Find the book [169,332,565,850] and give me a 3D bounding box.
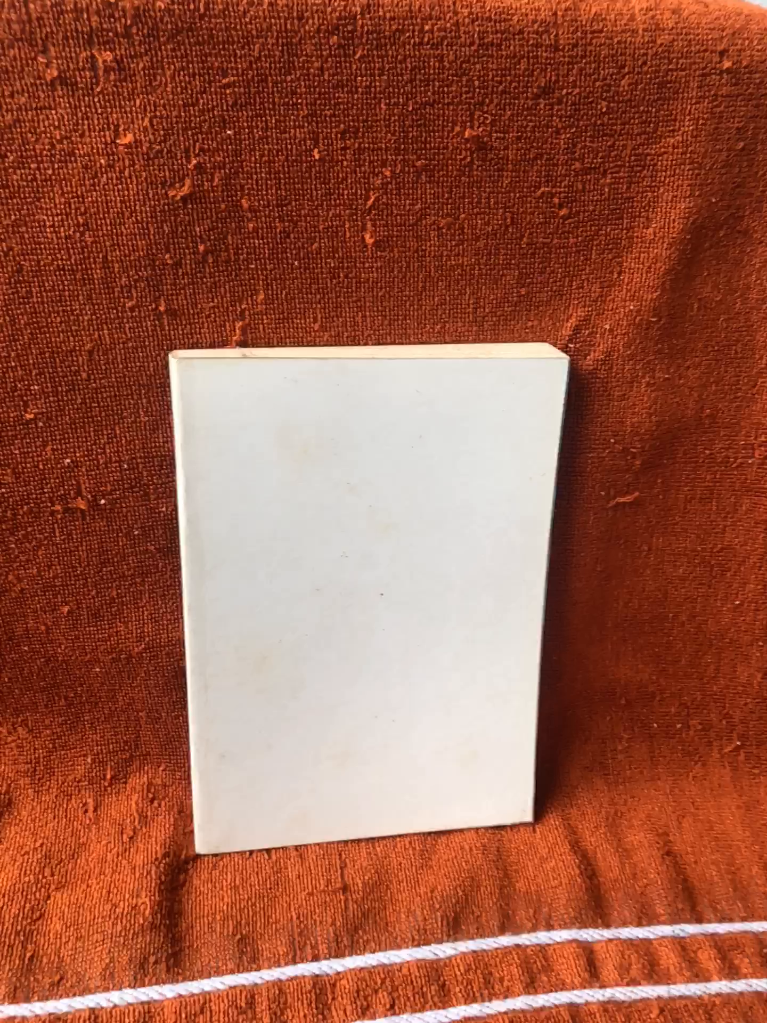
[{"bbox_3d":[-0.007,0.031,0.347,0.150,0.200,0.030,-1,9,-11],"label":"book"}]
